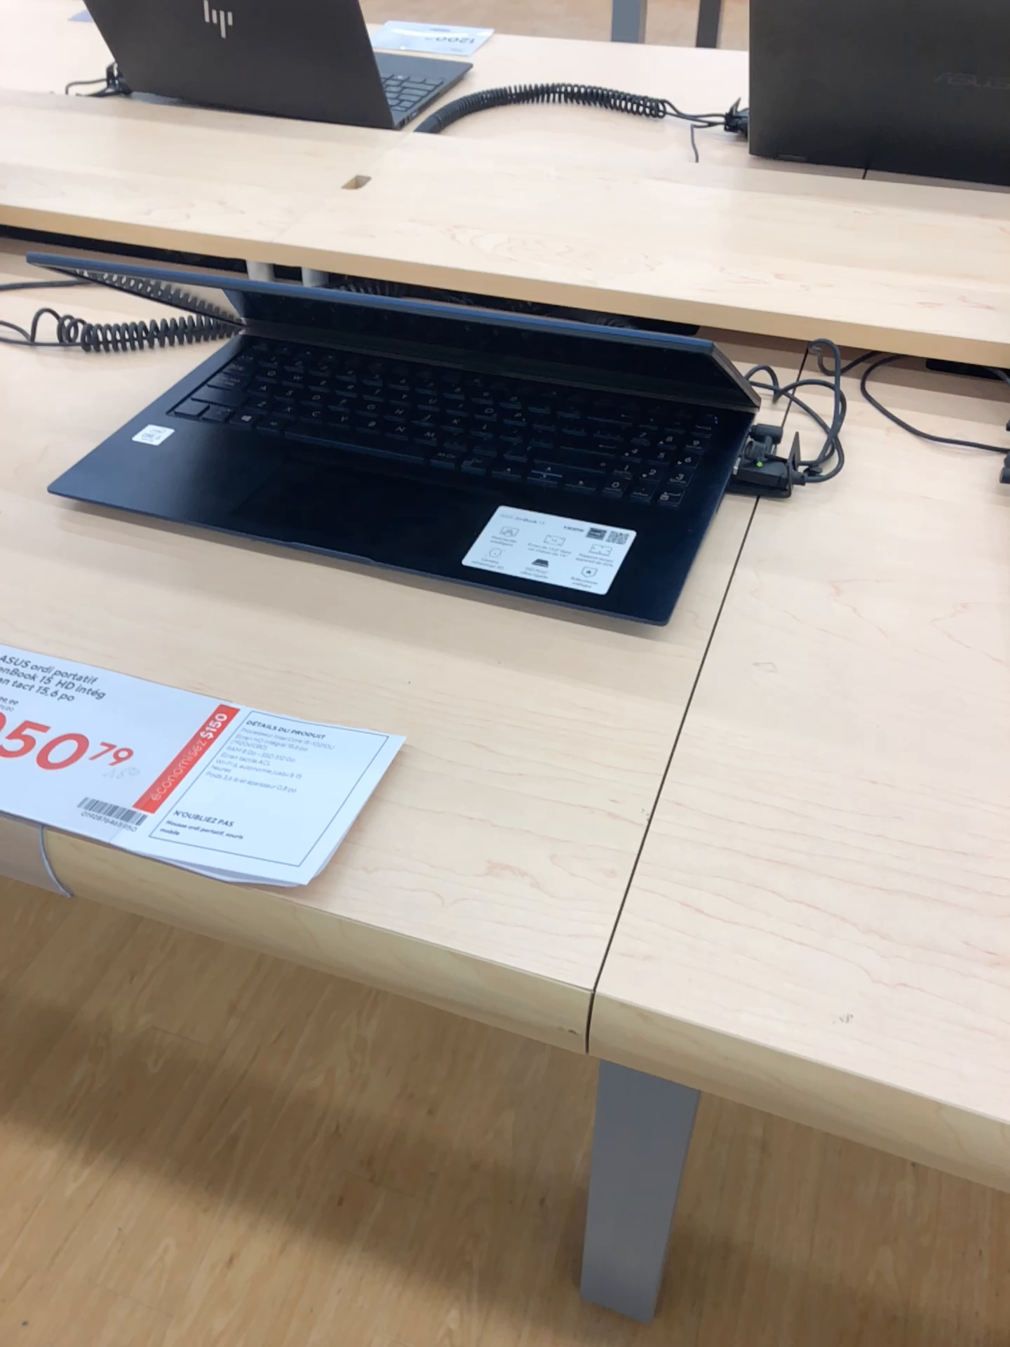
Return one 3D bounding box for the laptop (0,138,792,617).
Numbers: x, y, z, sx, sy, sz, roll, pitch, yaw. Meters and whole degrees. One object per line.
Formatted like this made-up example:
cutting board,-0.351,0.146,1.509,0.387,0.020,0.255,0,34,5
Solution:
laptop,-0.052,-0.172,0.584,0.346,0.119,0.204,14,45,16
